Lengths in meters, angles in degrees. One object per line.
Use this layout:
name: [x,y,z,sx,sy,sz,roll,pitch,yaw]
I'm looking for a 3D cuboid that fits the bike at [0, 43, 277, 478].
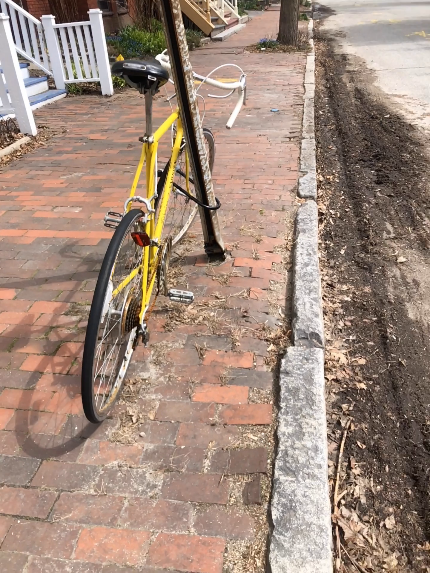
bike: [-0.094,-0.322,1.876,0.523,0.854,1.715,3,36,11]
